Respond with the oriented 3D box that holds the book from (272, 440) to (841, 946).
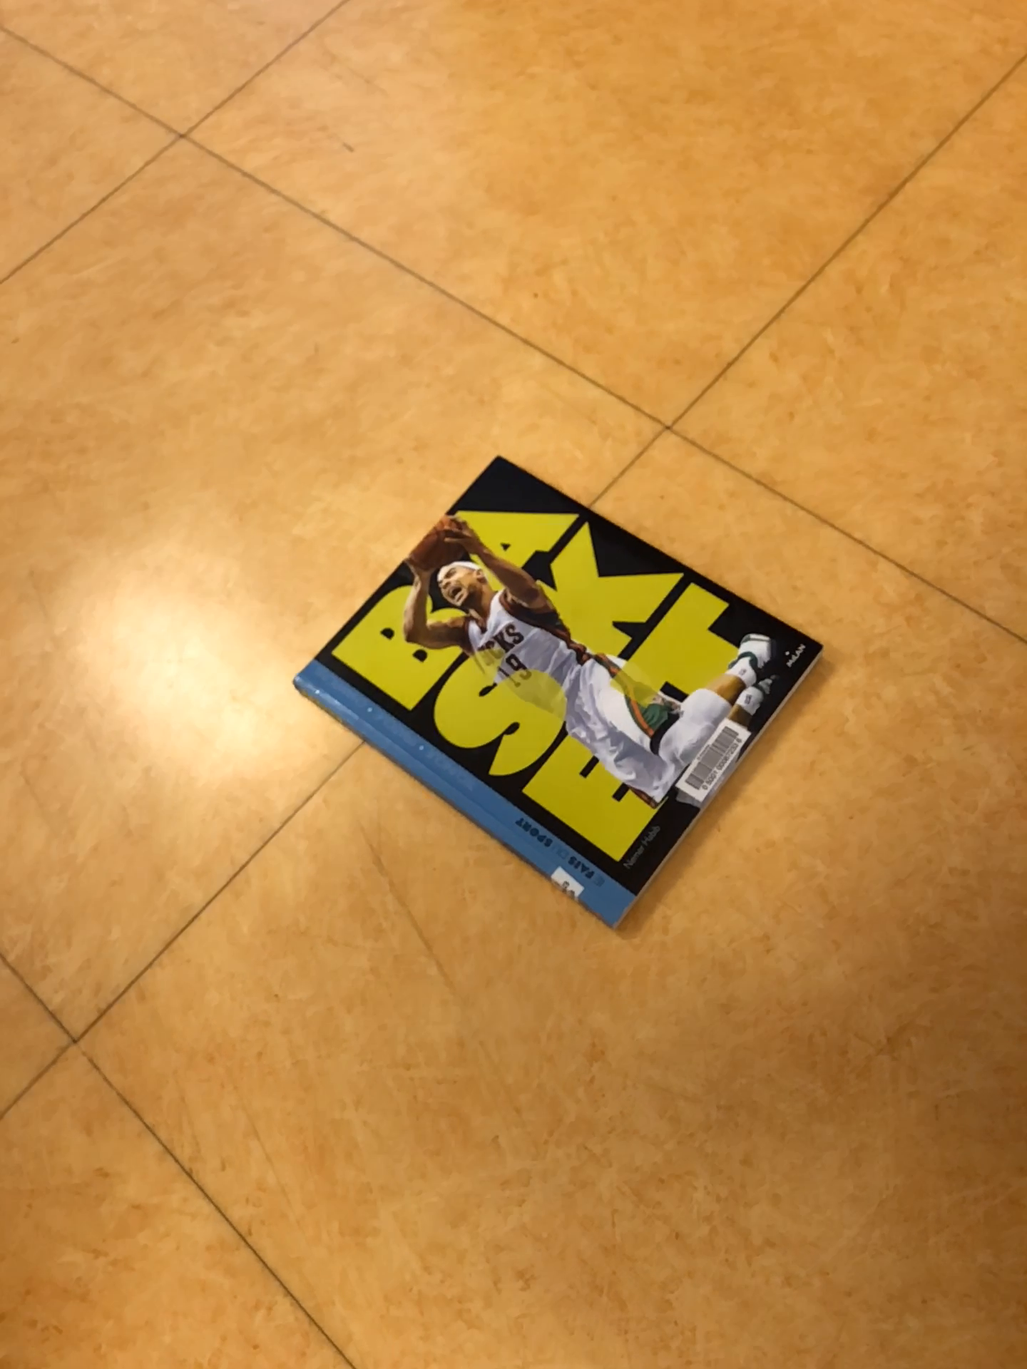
[{"bbox_3d":[0.020,-0.010,0.633,0.244,0.020,0.200,33,73,22],"label":"book"}]
